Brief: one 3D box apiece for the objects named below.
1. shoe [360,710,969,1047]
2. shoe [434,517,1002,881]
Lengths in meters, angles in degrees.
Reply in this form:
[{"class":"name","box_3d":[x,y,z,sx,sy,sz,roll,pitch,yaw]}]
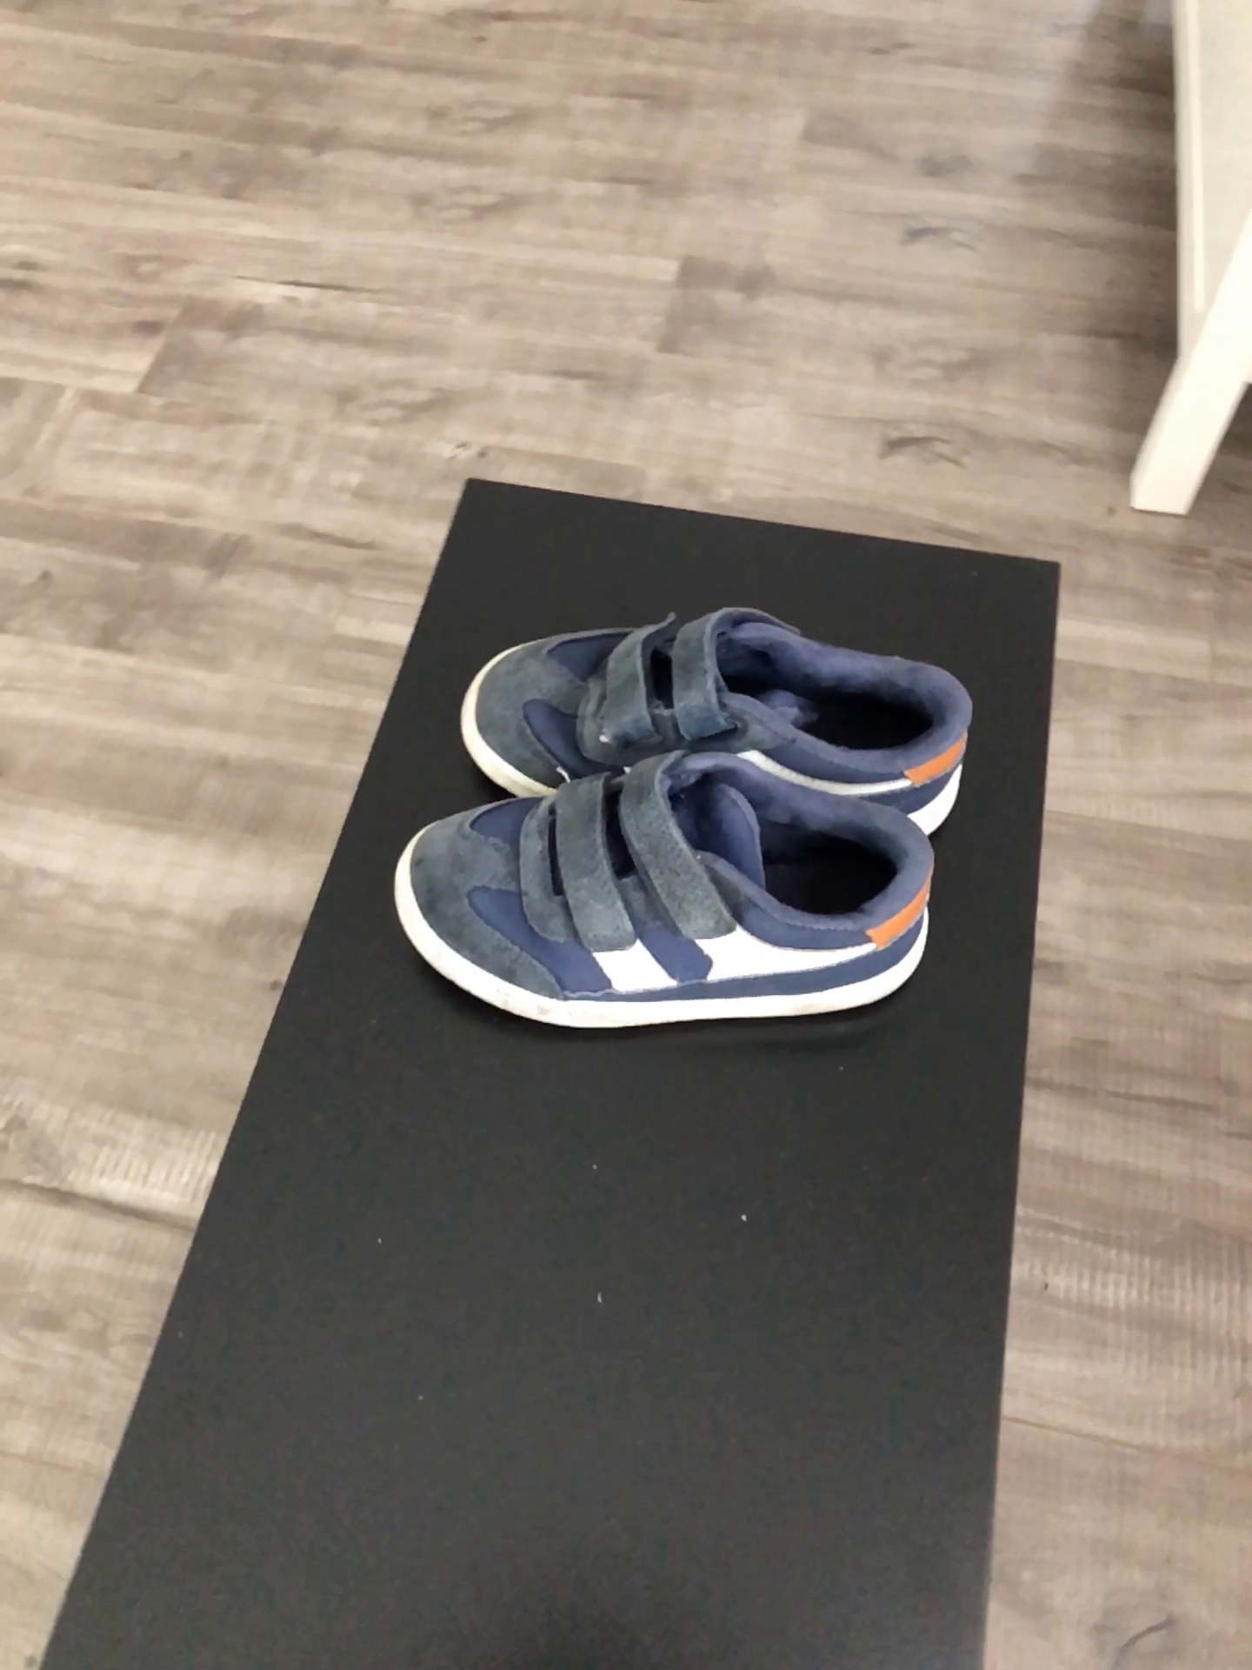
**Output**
[{"class":"shoe","box_3d":[0.014,0.015,0.469,0.185,0.068,0.088,1,59,3]},{"class":"shoe","box_3d":[0.034,-0.051,0.507,0.185,0.068,0.082,10,60,8]}]
